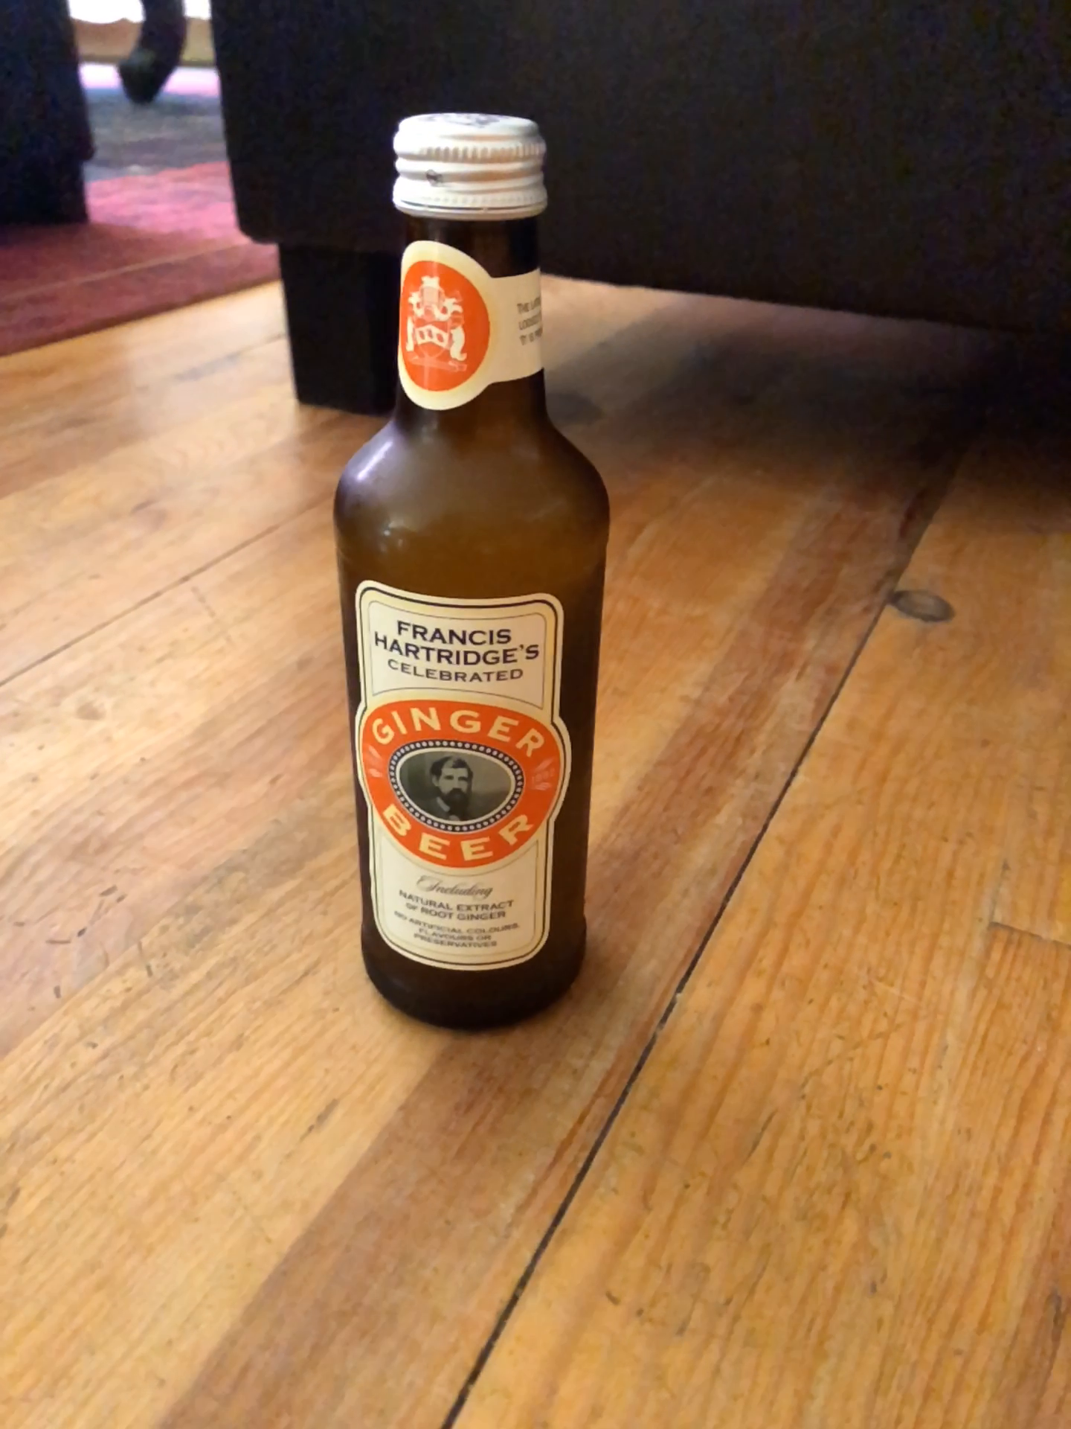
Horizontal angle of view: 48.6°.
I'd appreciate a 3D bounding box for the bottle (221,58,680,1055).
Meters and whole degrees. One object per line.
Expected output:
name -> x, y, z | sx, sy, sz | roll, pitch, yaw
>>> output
bottle -> -0.013, -0.025, 0.266 | 0.070, 0.209, 0.060 | 6, 32, 8
